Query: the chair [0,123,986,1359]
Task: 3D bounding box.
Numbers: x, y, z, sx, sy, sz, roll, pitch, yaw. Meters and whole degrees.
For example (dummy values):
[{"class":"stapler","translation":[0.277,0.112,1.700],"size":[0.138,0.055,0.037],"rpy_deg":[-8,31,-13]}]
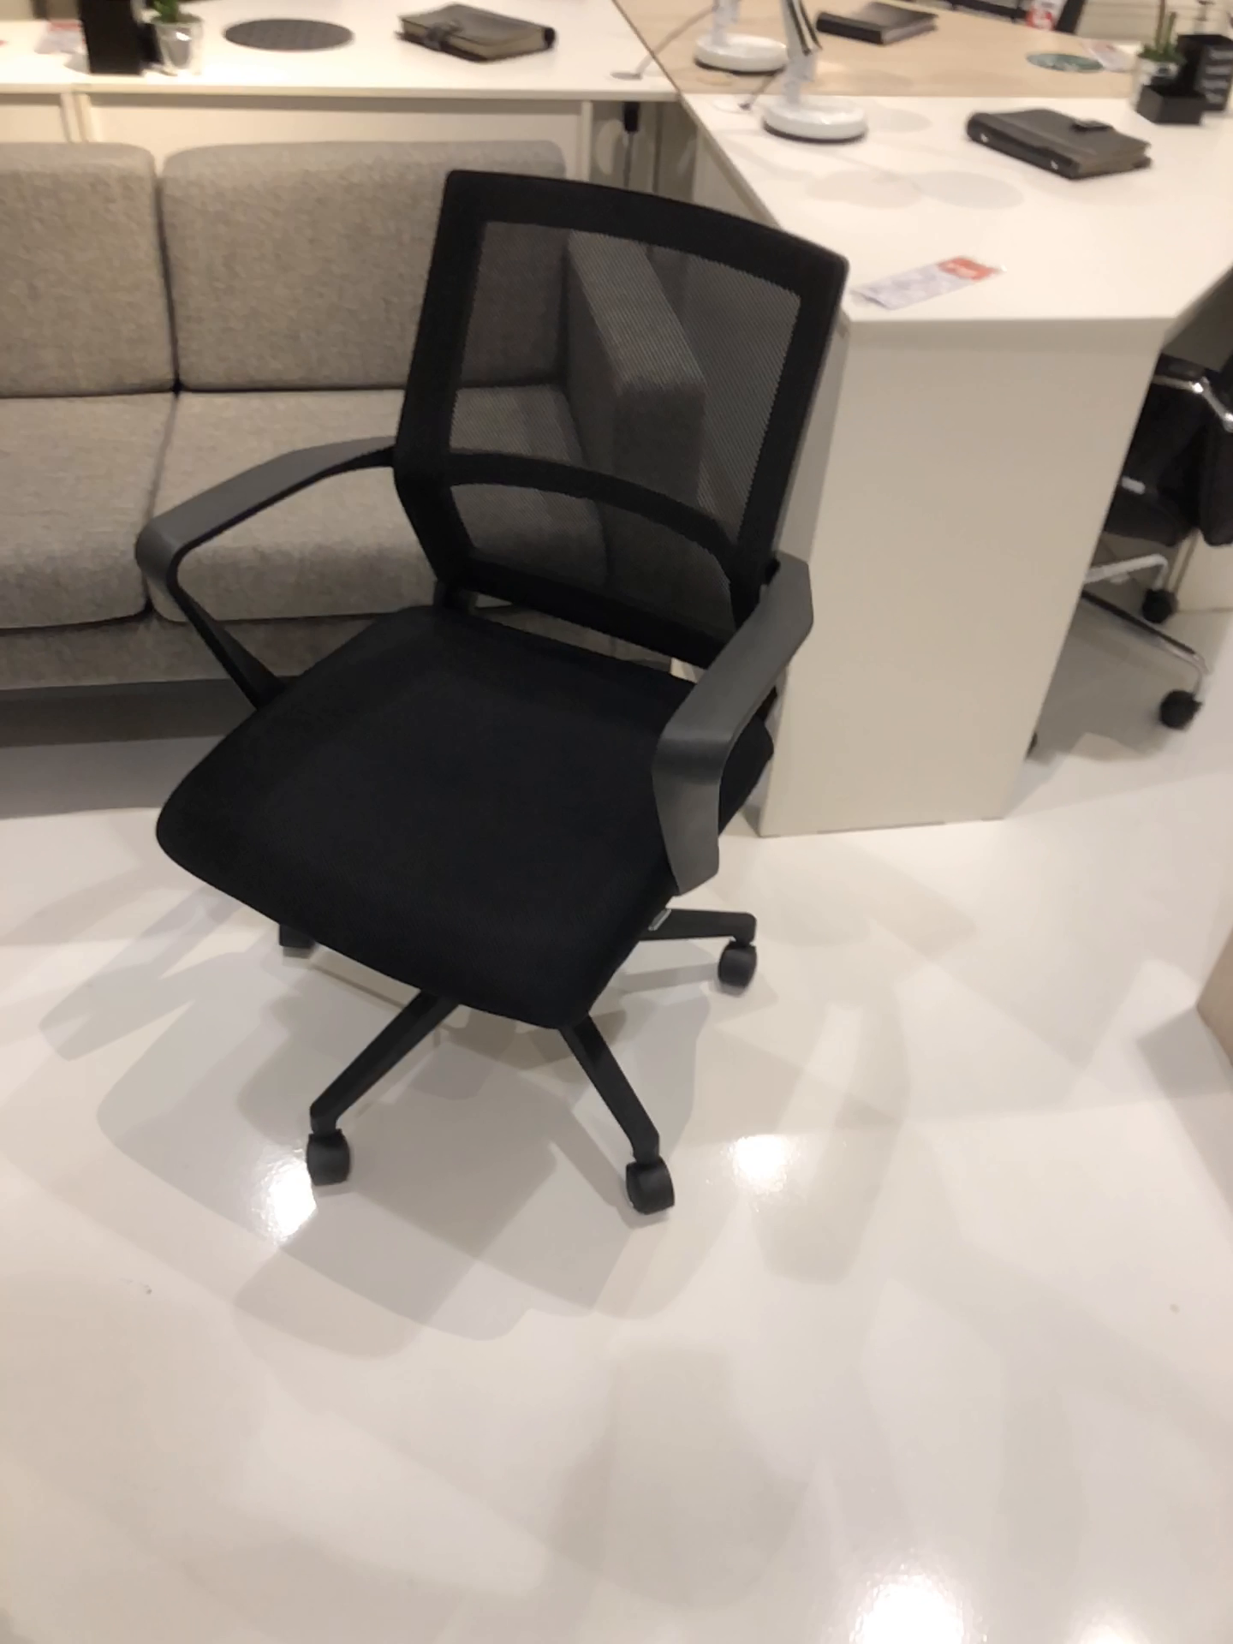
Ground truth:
[{"class":"chair","translation":[-0.141,-0.094,1.417],"size":[0.681,0.933,0.634],"rpy_deg":[21,44,19]}]
